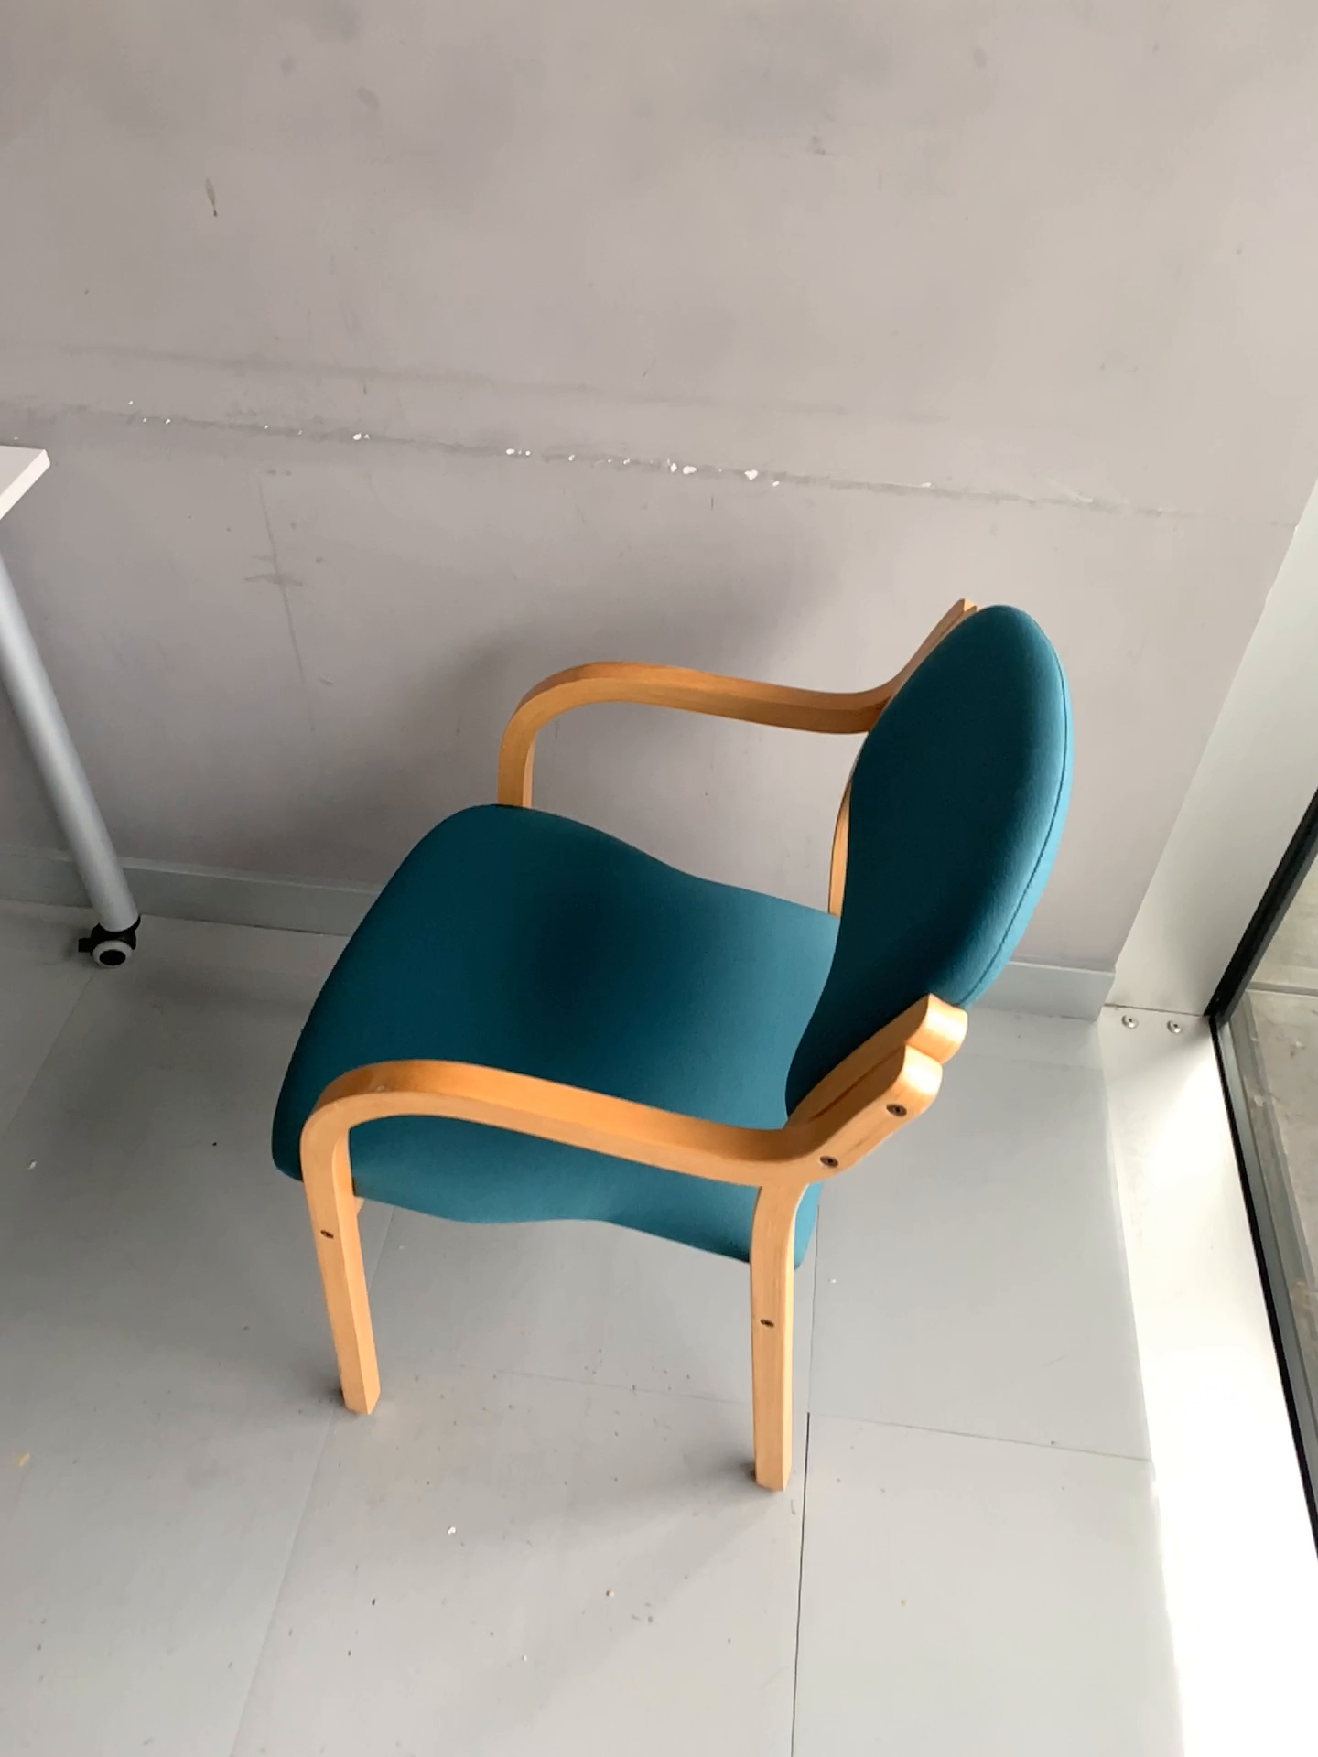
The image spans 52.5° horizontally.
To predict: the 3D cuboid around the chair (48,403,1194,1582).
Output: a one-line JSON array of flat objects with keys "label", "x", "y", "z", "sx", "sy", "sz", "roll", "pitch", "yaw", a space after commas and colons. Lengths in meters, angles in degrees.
[{"label": "chair", "x": 0.015, "y": 0.098, "z": 1.228, "sx": 0.640, "sy": 0.723, "sz": 0.686, "roll": 8, "pitch": 46, "yaw": 6}]
